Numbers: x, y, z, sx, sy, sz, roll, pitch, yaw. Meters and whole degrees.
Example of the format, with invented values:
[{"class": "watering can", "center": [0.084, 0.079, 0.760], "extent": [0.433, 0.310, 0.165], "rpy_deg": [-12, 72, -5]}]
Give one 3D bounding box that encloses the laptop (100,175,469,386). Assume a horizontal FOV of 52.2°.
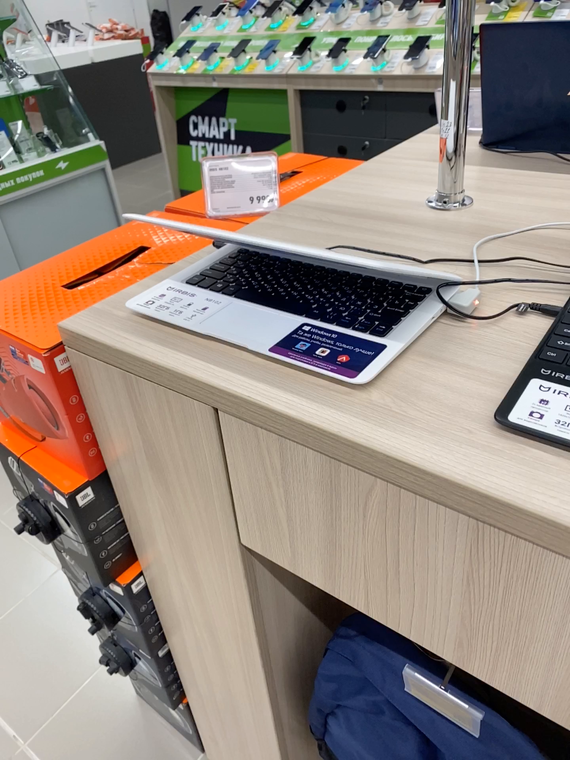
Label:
[{"class": "laptop", "center": [-0.004, -0.112, 0.540], "extent": [0.281, 0.078, 0.178], "rpy_deg": [19, 42, 33]}]
